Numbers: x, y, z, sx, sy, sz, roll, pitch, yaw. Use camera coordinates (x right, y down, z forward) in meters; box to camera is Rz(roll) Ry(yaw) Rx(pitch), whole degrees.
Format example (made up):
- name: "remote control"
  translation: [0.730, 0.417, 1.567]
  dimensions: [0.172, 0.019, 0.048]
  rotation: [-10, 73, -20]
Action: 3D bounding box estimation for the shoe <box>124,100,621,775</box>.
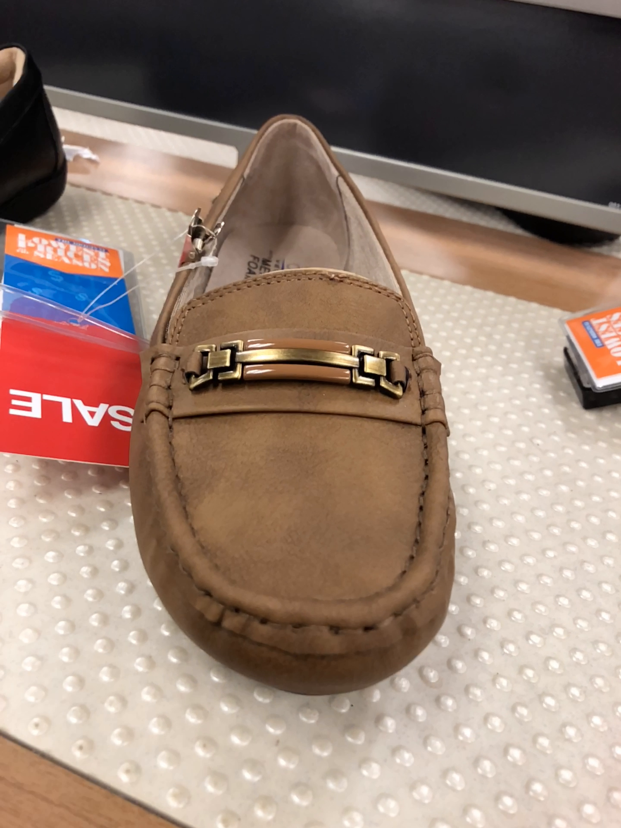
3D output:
- name: "shoe"
  translation: [-0.001, -0.027, 0.220]
  dimensions: [0.087, 0.079, 0.236]
  rotation: [1, 35, -9]
